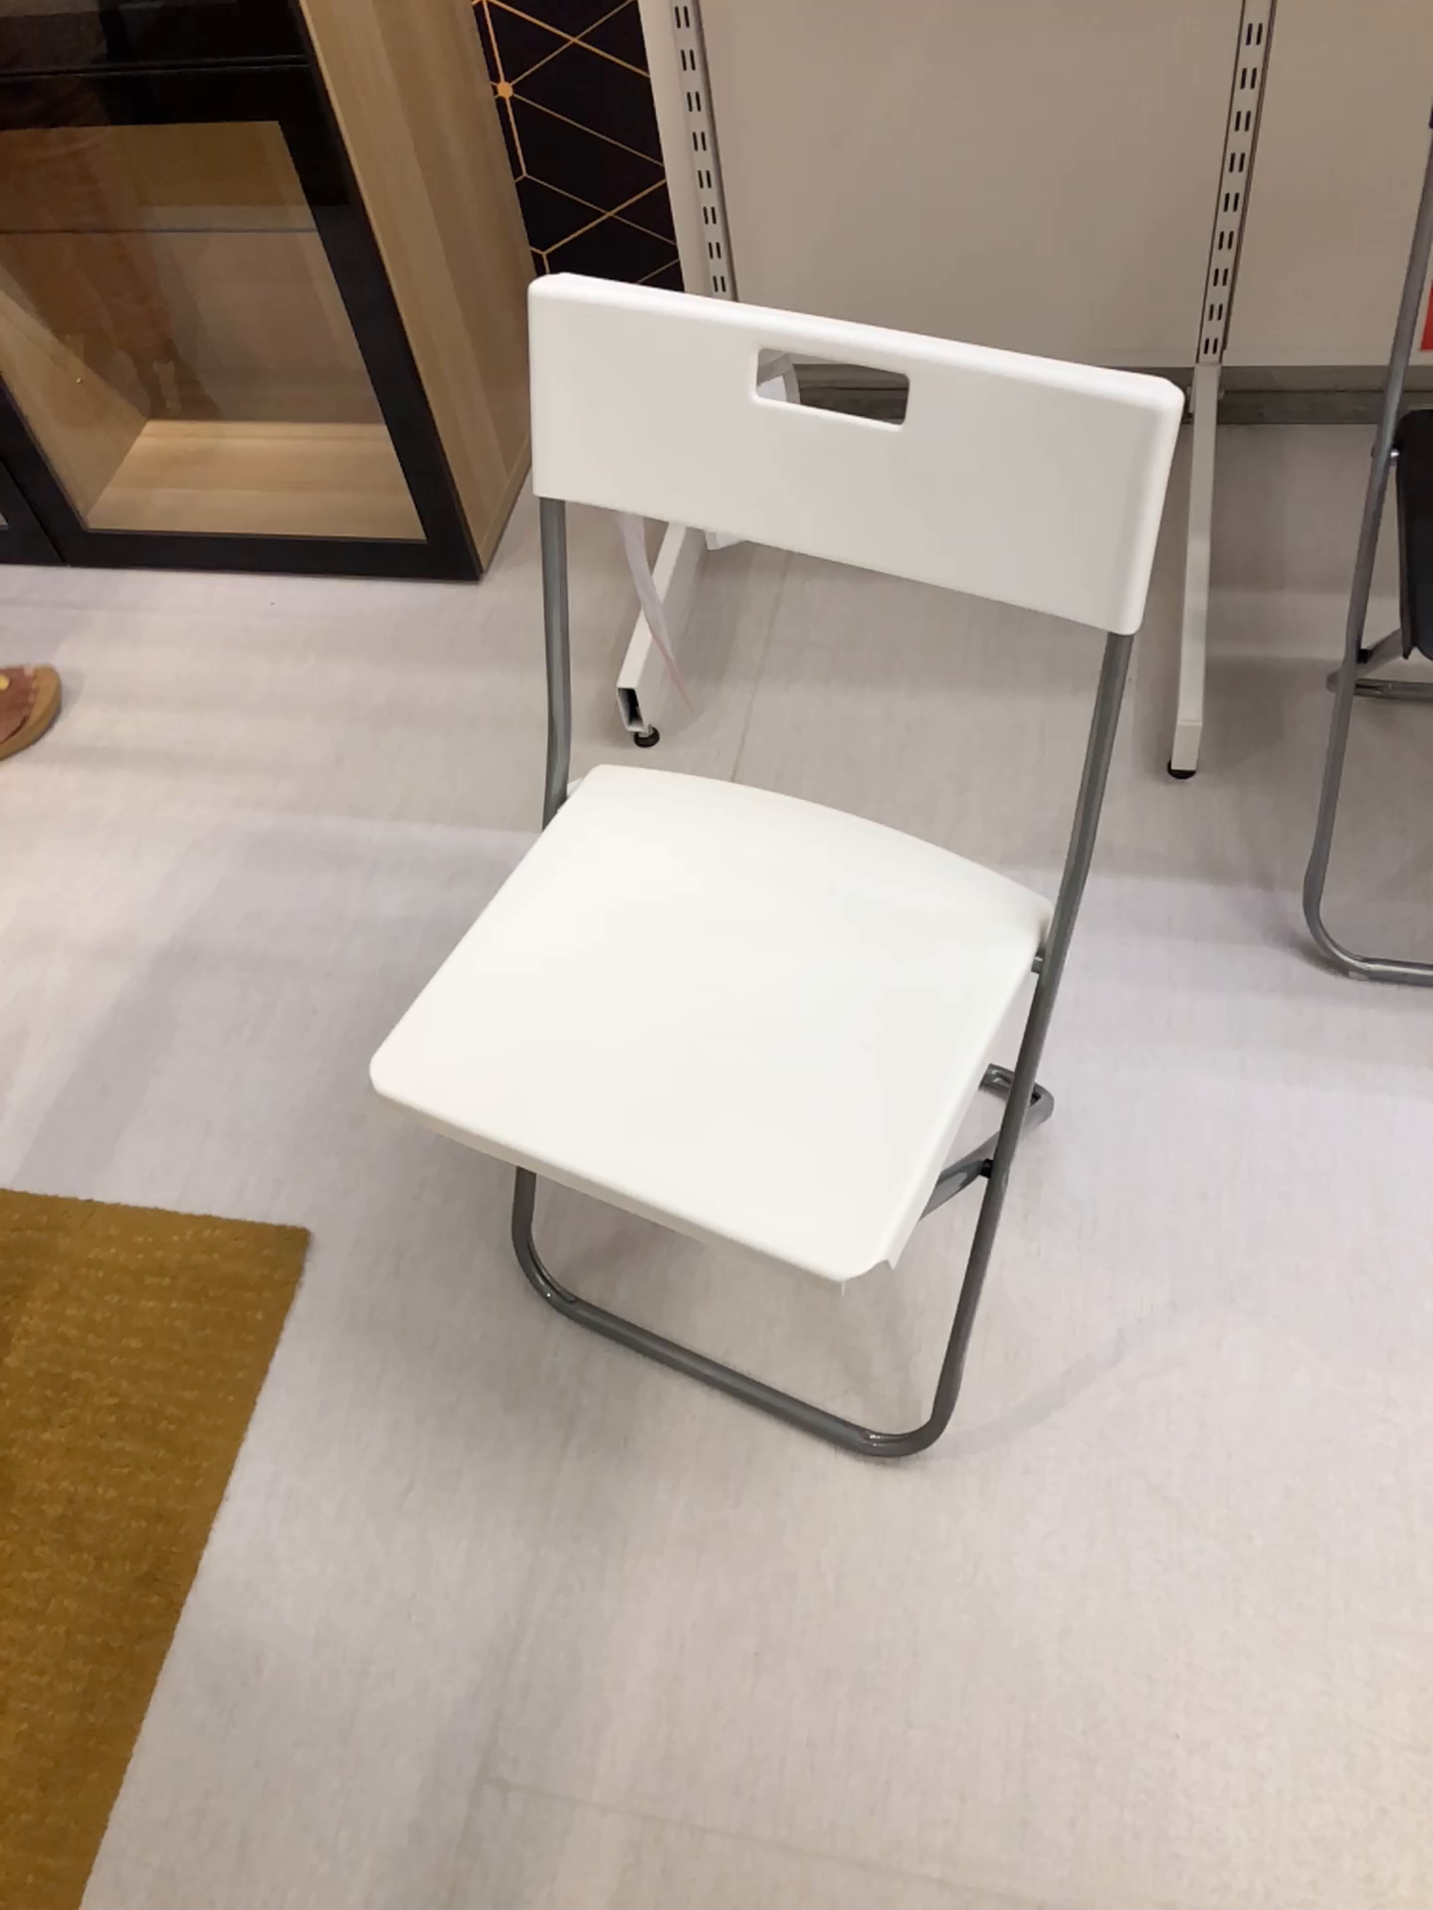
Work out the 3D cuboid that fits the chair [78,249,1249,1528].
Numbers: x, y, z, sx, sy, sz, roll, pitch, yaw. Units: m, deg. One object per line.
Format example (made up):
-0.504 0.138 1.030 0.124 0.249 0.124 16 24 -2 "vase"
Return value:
0.026 0.001 1.069 0.451 0.726 0.401 19 60 22 "chair"
